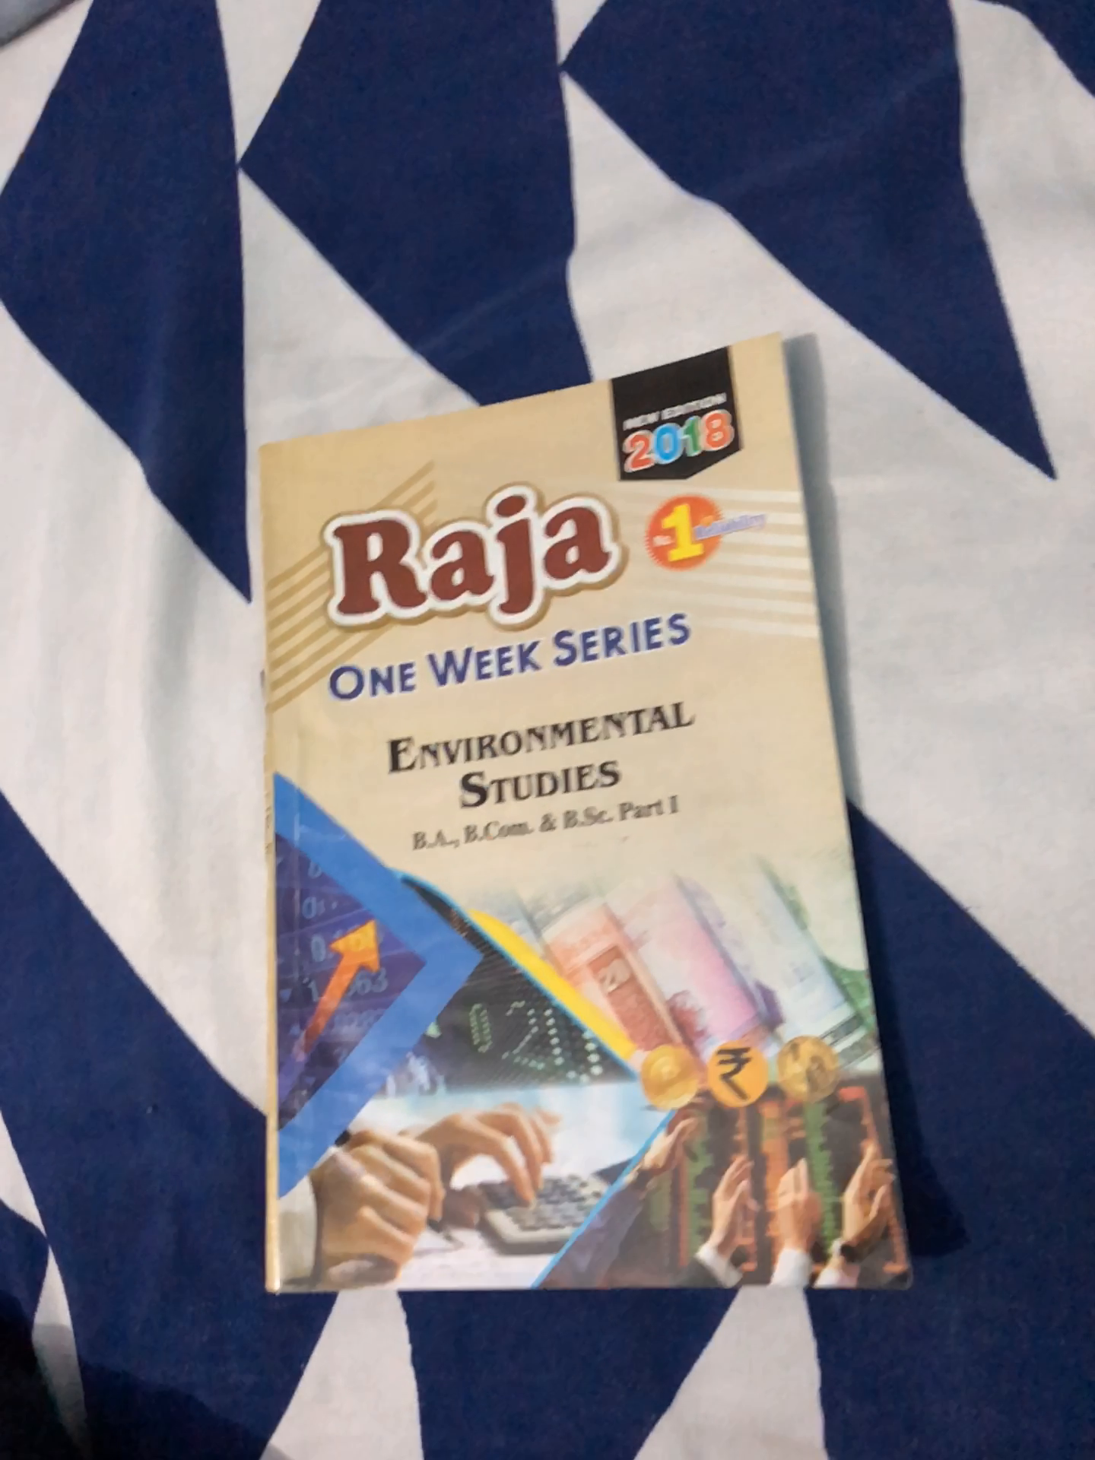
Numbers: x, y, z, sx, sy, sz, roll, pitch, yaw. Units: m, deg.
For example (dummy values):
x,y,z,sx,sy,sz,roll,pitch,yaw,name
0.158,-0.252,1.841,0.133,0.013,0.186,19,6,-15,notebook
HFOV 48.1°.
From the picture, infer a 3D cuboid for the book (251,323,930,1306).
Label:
x,y,z,sx,sy,sz,roll,pitch,yaw,name
-0.002,0.018,0.272,0.140,0.010,0.200,-9,75,19,book
